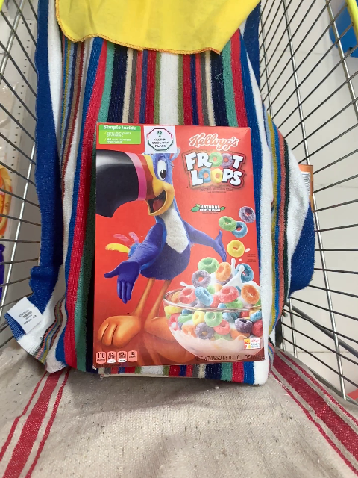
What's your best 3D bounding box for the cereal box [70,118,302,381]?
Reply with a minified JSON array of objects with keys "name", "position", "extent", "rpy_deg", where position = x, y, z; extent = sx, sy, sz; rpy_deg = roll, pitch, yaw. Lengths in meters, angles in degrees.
[{"name":"cereal box","position":[0.004,0.007,0.384],"extent":[0.210,0.060,0.250],"rpy_deg":[0,79,-6]}]
